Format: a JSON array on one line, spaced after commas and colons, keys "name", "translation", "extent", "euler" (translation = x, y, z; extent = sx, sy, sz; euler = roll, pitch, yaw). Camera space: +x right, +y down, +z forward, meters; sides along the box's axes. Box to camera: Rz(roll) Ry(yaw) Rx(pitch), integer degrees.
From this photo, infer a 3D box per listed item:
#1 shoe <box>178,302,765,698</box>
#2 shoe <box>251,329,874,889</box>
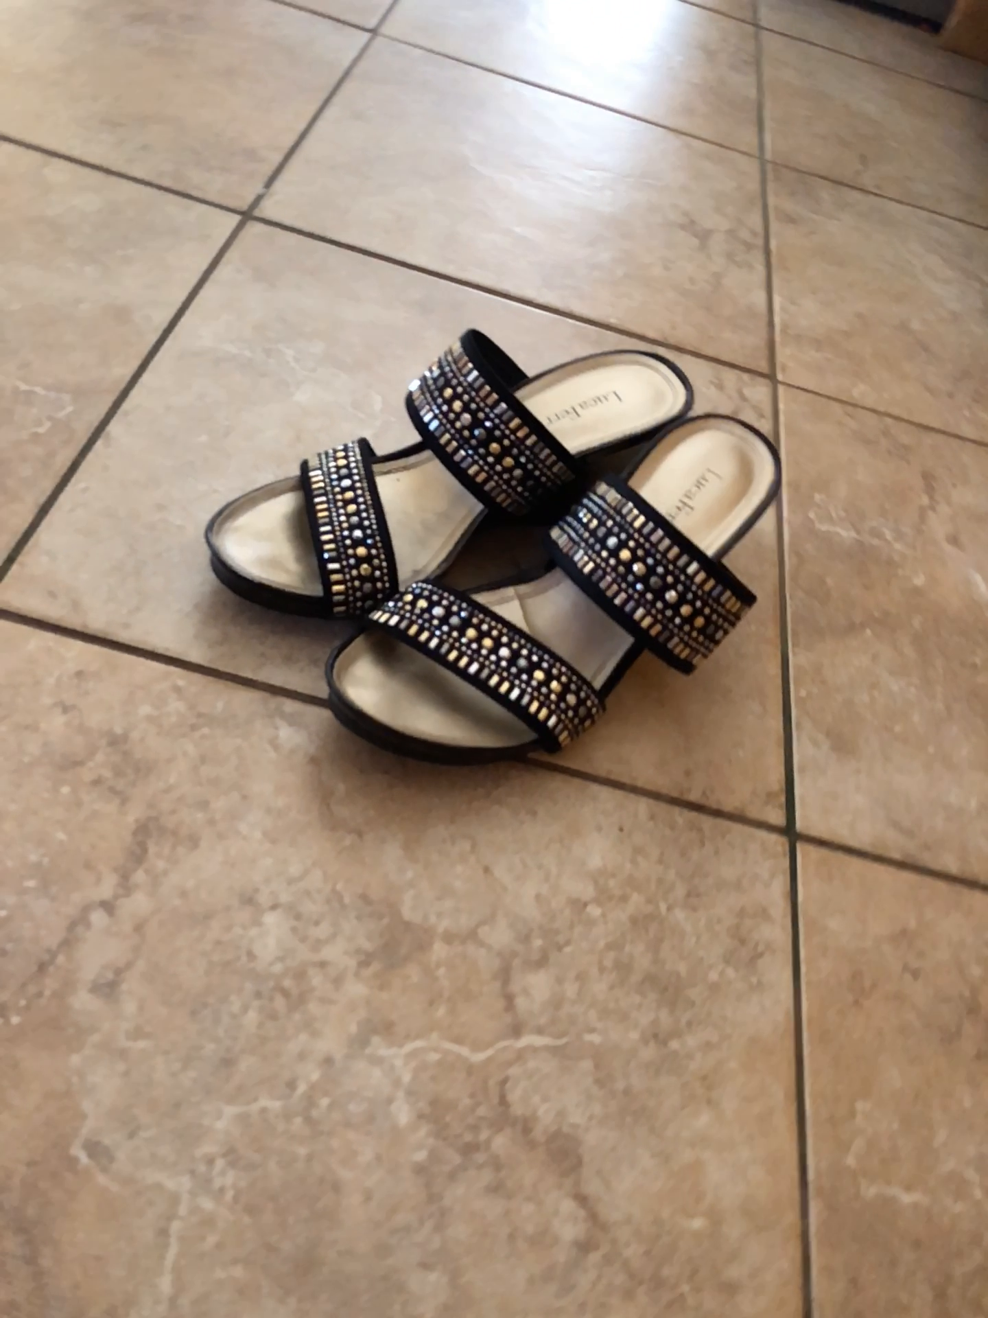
[{"name": "shoe", "translation": [-0.012, -0.075, 0.465], "extent": [0.221, 0.100, 0.090], "euler": [-15, 56, -28]}, {"name": "shoe", "translation": [0.030, -0.032, 0.433], "extent": [0.110, 0.100, 0.221], "euler": [43, 51, 20]}]
